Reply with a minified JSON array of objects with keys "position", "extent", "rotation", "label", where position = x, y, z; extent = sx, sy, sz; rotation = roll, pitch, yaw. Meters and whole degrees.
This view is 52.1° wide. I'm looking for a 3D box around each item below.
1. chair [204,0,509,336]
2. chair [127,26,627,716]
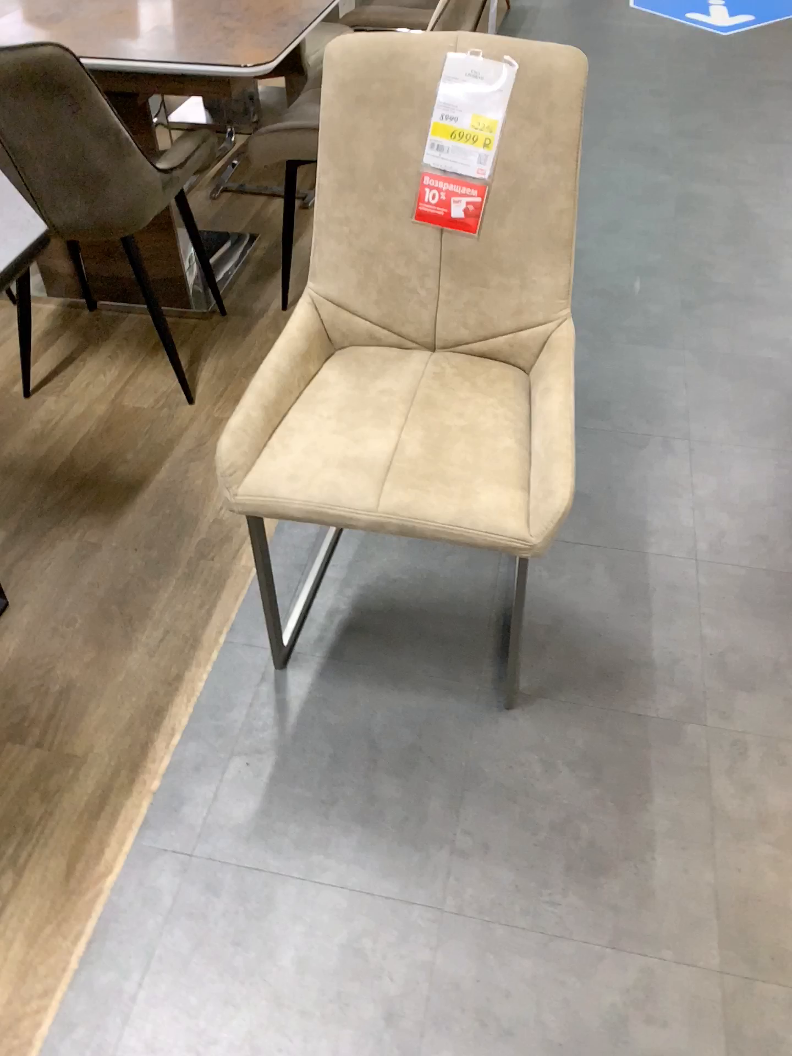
[{"position":[-0.063,-1.053,2.213],"extent":[0.623,0.842,0.483],"rotation":[8,45,10],"label":"chair"},{"position":[0.035,-0.228,1.321],"extent":[0.510,0.887,0.586],"rotation":[7,45,9],"label":"chair"}]
